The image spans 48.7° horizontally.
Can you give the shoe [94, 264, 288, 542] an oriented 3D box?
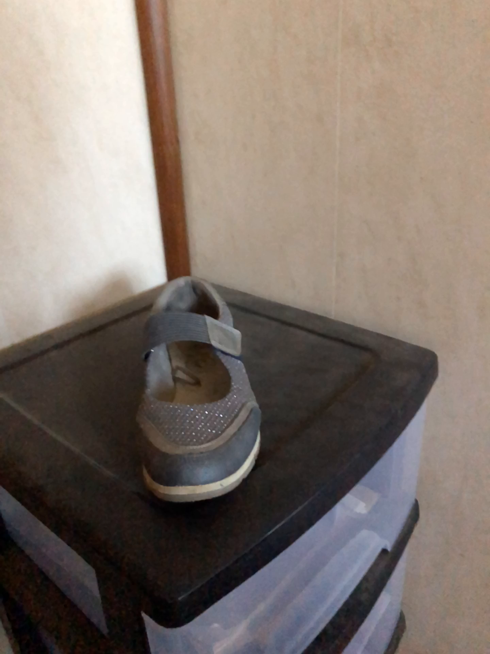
[{"bbox_3d":[-0.044,0.036,0.445,0.110,0.080,0.261,-6,27,-5],"label":"shoe"}]
